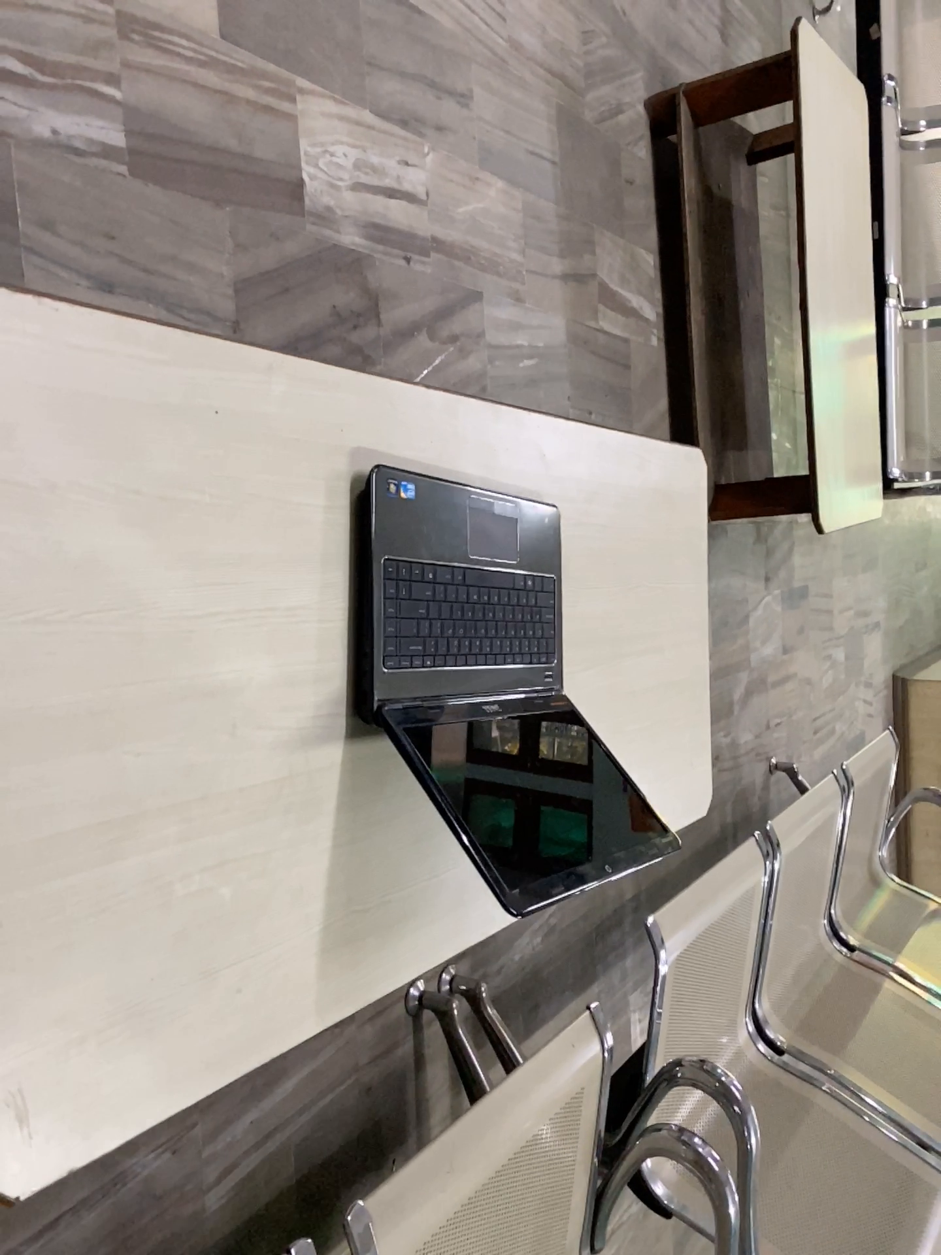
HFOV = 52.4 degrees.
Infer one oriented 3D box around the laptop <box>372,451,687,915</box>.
[{"bbox_3d":[0.074,0.048,0.955,0.331,0.152,0.378,1,89,-53],"label":"laptop"}]
